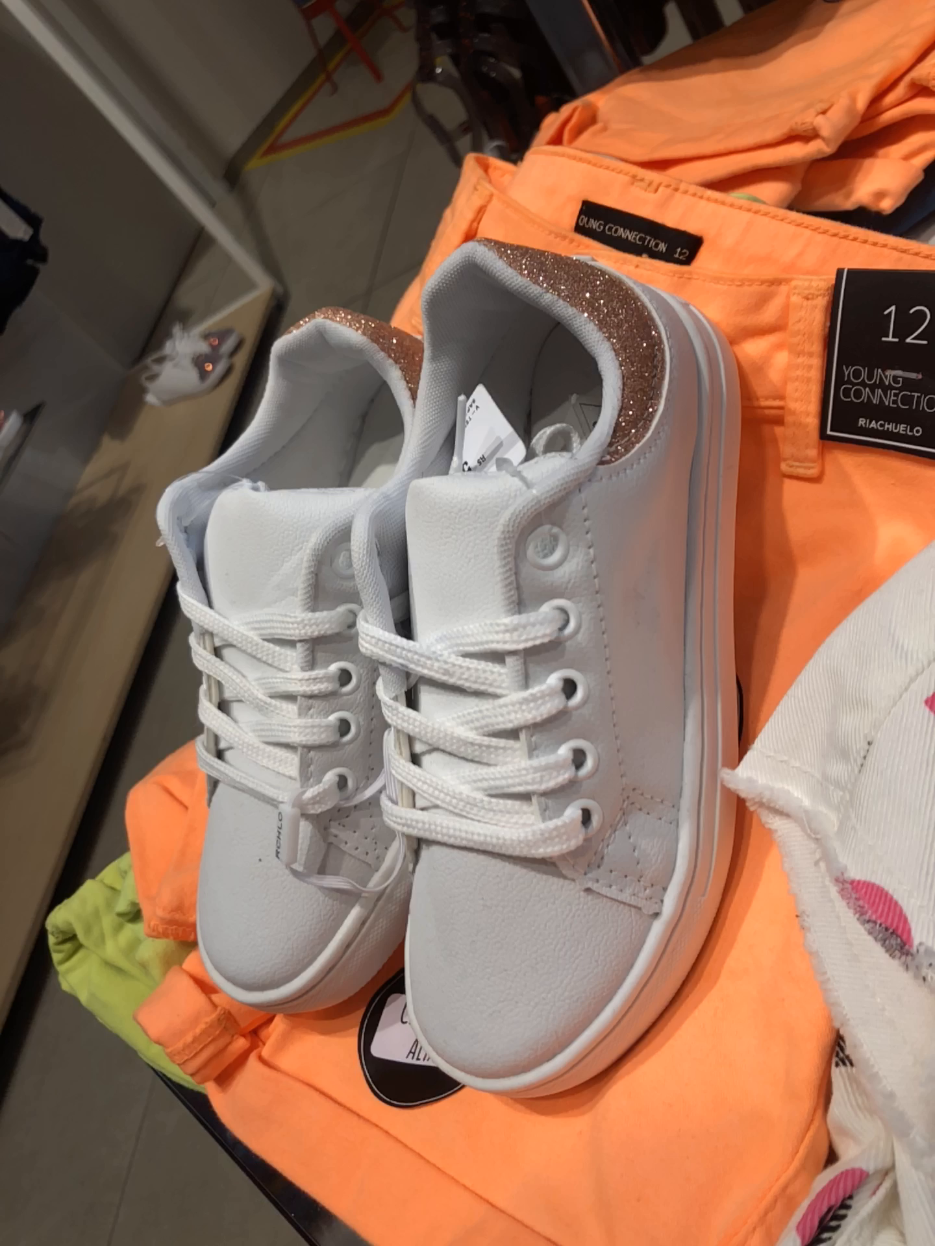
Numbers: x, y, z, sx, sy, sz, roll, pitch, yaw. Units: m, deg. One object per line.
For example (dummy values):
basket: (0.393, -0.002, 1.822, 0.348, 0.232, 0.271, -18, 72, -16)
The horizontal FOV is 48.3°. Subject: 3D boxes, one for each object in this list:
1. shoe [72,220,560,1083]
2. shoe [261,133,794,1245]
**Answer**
shoe: (-0.039, 0.004, 0.300, 0.080, 0.070, 0.210, 6, 84, 29)
shoe: (0.017, 0.014, 0.243, 0.080, 0.070, 0.210, -1, 80, 42)
